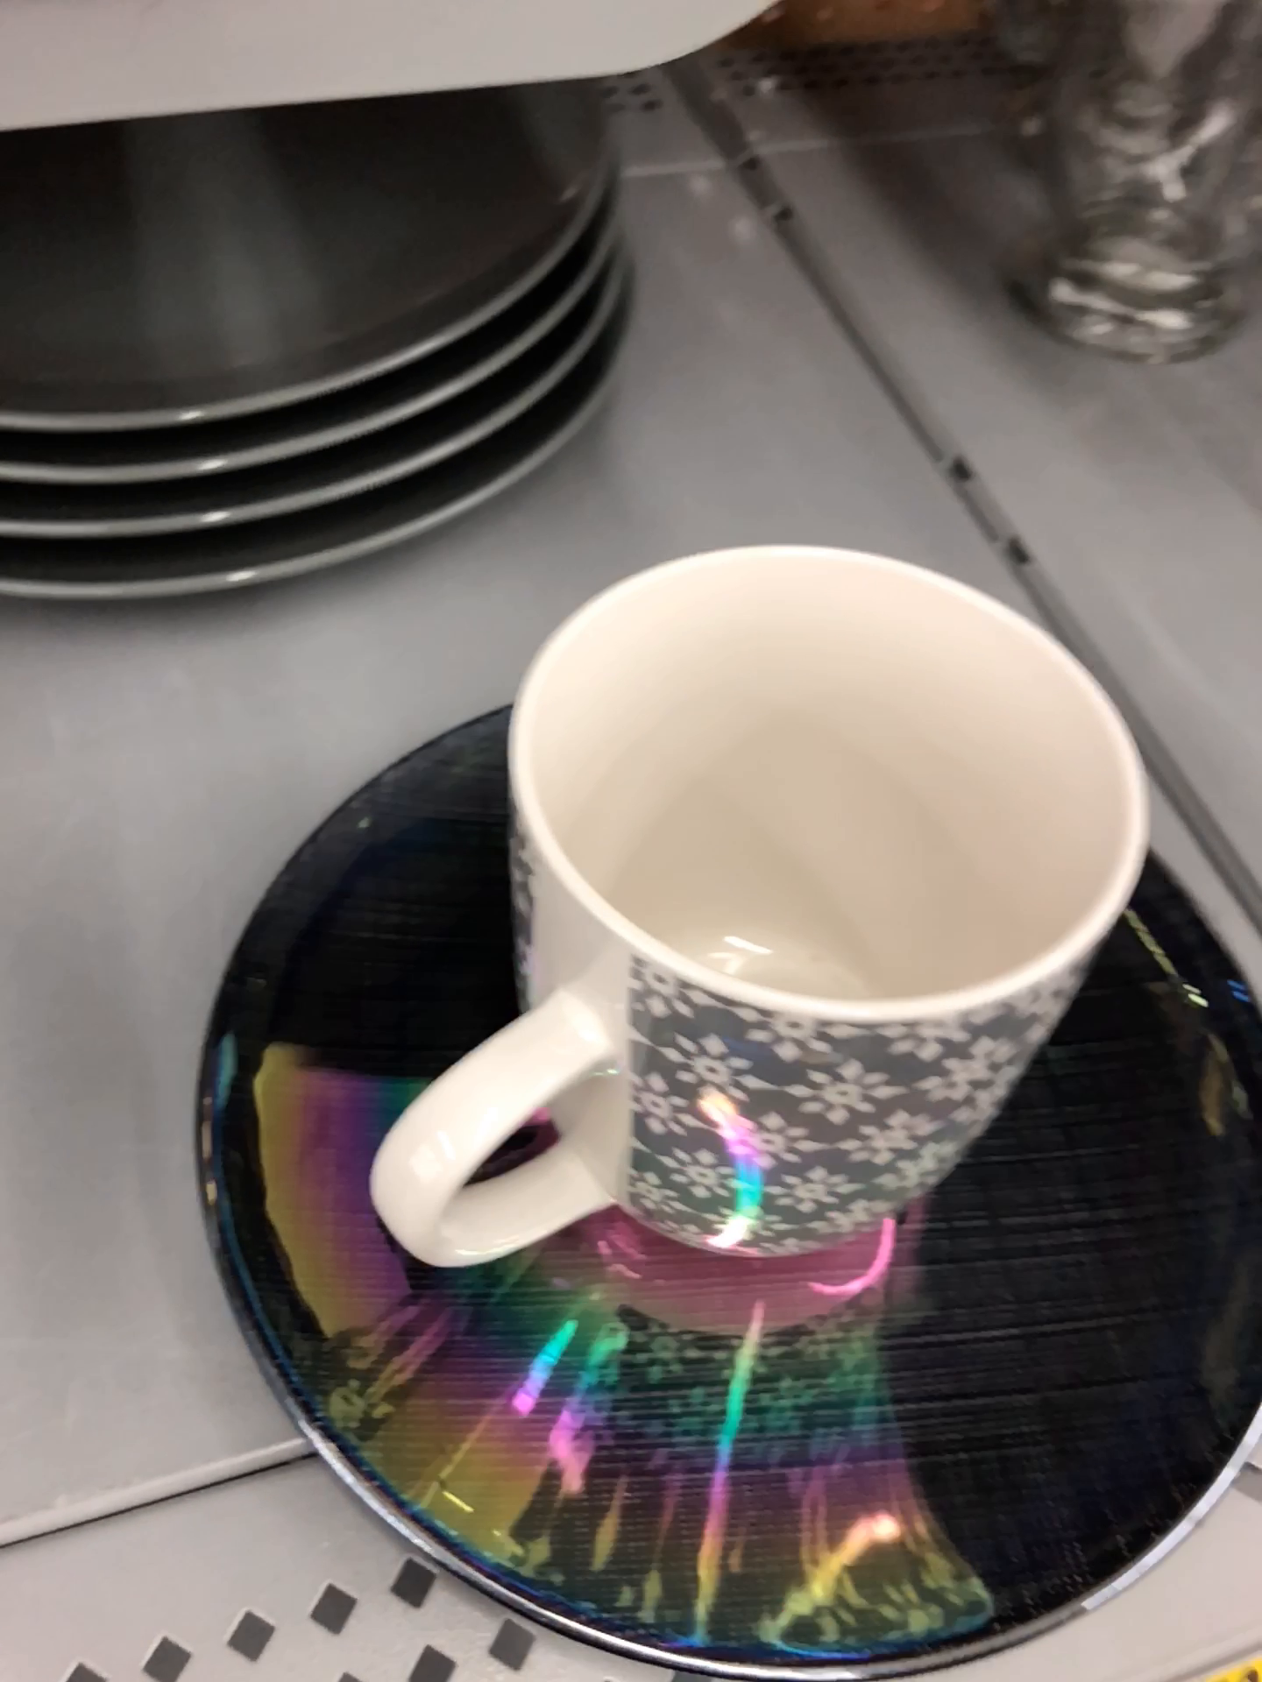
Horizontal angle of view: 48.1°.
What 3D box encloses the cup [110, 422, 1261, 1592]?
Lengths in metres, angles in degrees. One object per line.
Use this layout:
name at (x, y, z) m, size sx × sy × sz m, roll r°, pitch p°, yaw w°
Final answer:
cup at (0.012, 0.021, 0.220) m, size 0.129 × 0.096 × 0.093 m, roll -32°, pitch 61°, yaw -25°
